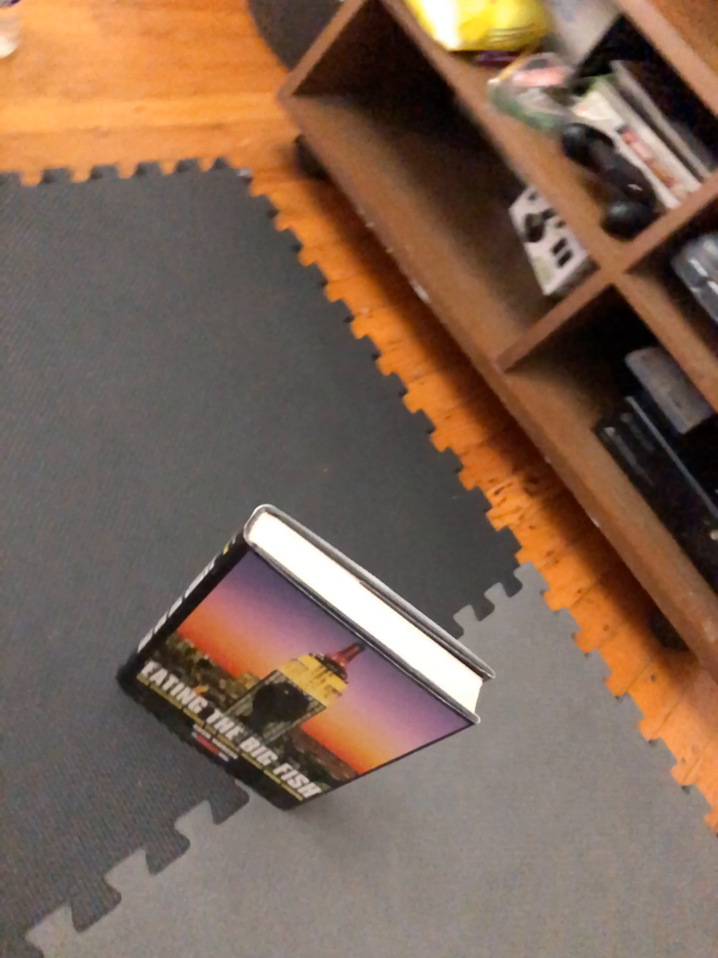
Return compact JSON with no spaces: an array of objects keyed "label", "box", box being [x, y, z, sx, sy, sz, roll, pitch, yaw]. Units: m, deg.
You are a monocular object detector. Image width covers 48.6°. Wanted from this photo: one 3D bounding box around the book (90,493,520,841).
[{"label":"book","box":[-0.053,0.140,0.508,0.180,0.259,0.050,37,48,-7]}]
